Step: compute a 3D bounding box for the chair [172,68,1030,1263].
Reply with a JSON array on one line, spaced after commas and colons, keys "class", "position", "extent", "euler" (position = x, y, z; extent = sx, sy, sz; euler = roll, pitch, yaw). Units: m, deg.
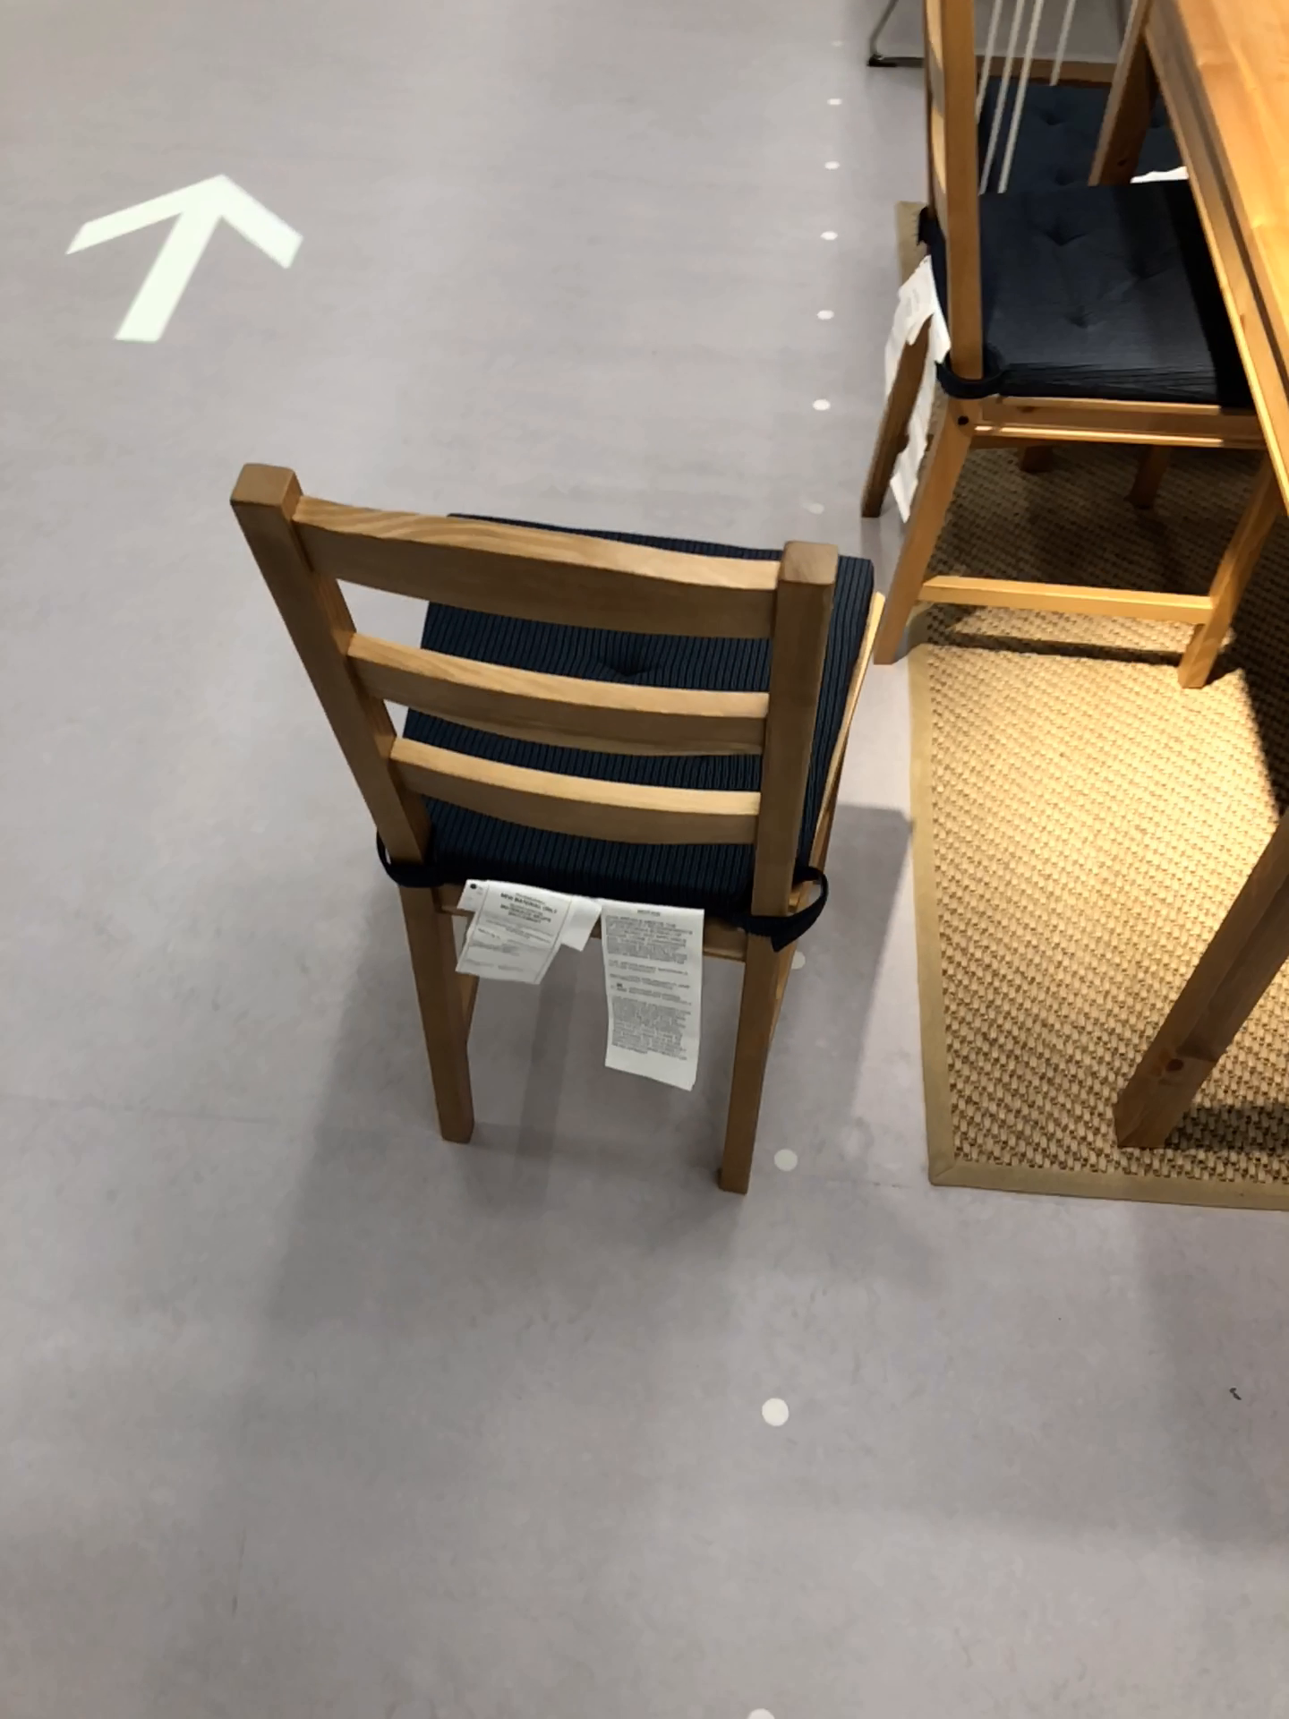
[{"class": "chair", "position": [0.005, -0.094, 1.217], "extent": [0.440, 0.865, 0.523], "euler": [7, 54, 4]}]
